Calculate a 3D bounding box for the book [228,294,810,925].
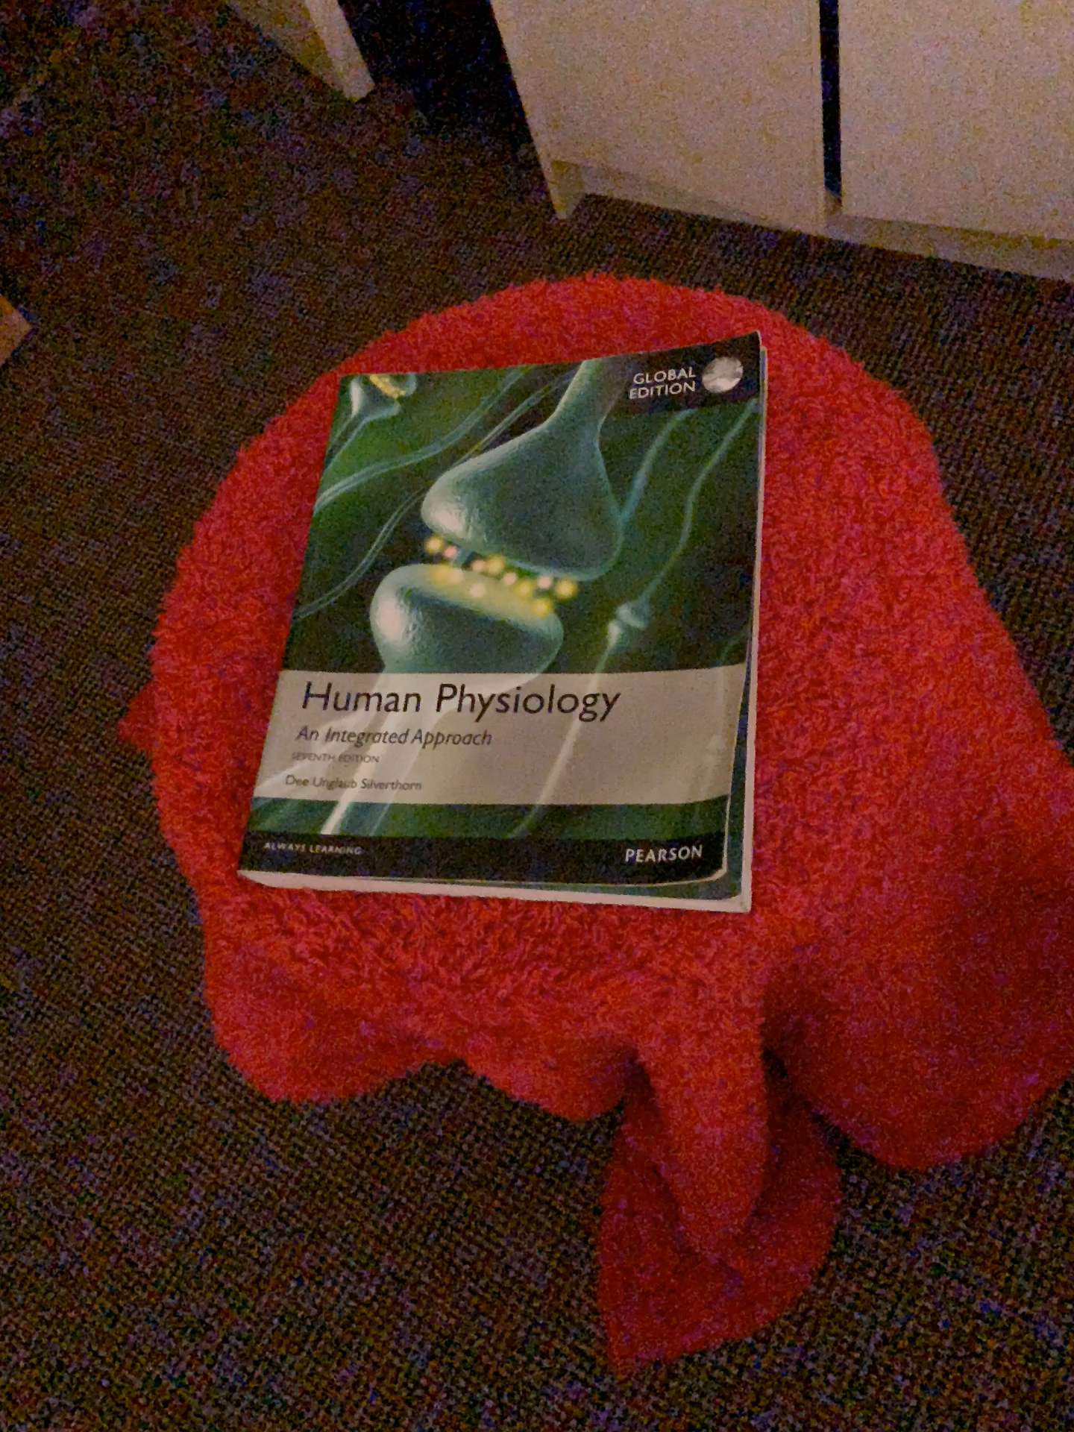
[{"bbox_3d":[0.005,-0.059,0.553,0.250,0.070,0.301,0,67,16],"label":"book"}]
